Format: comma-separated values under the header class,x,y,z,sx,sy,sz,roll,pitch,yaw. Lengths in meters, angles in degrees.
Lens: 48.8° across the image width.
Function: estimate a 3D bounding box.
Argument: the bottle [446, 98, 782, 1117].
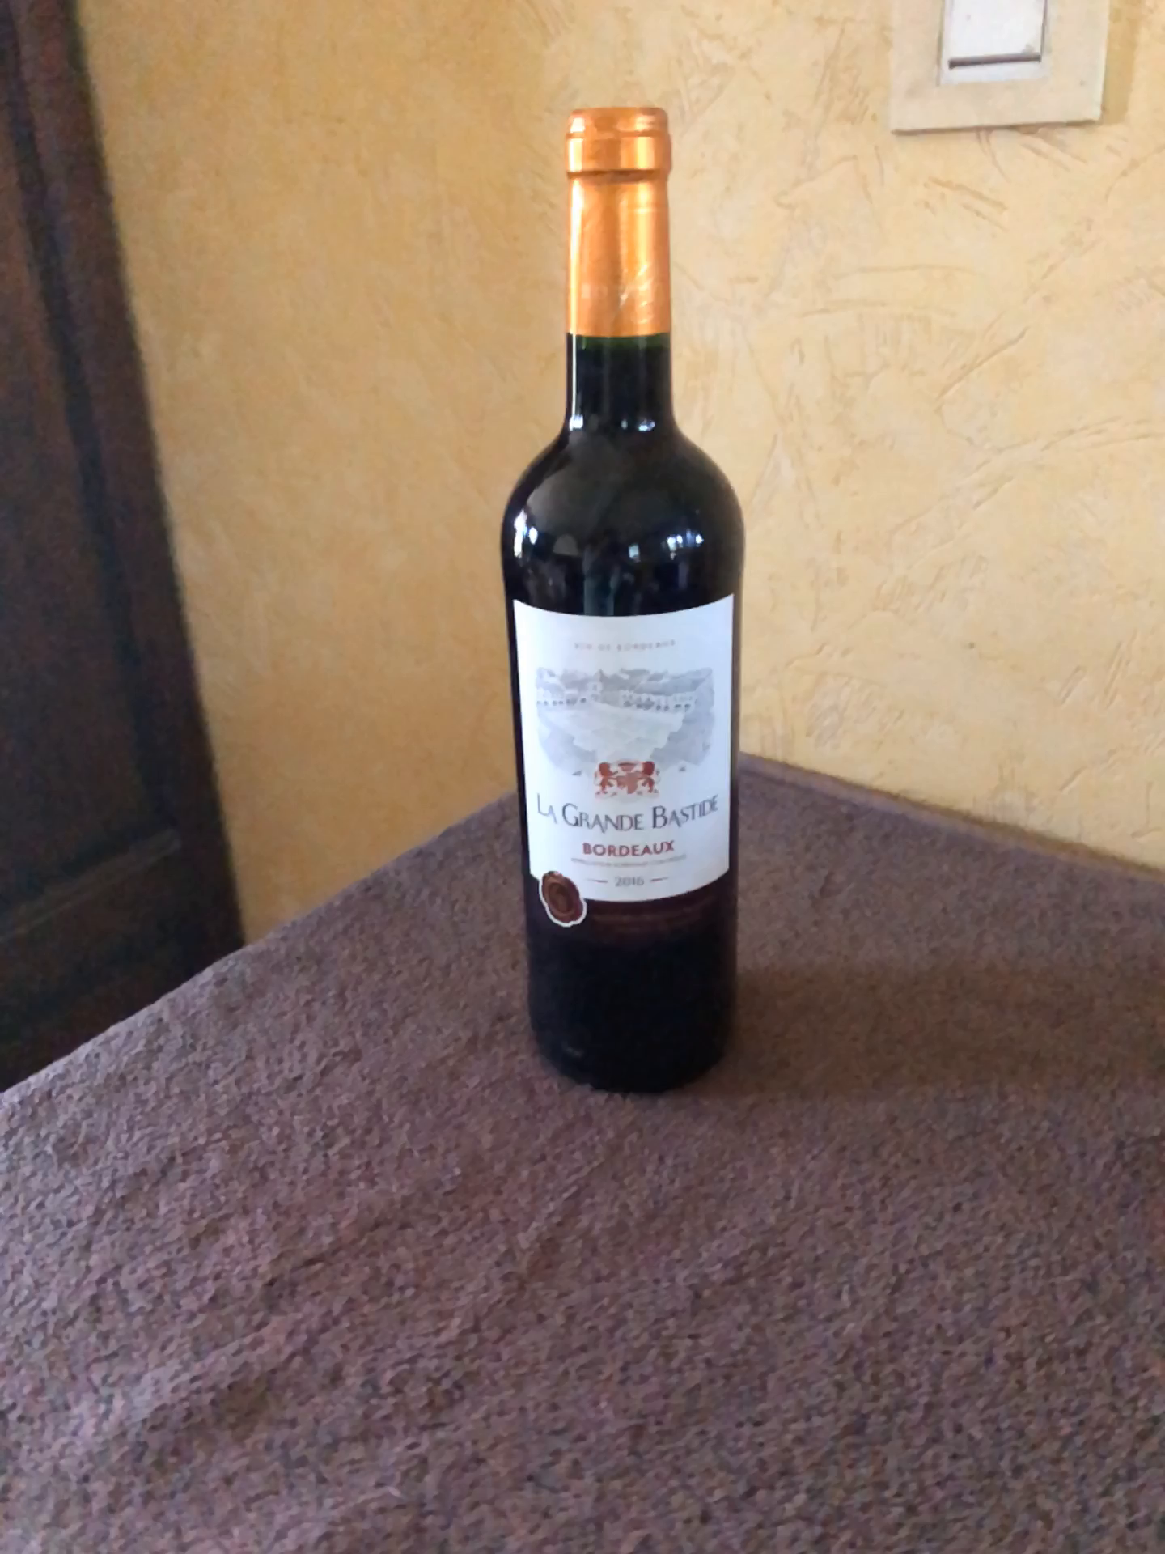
class,x,y,z,sx,sy,sz,roll,pitch,yaw
bottle,0.016,-0.040,0.403,0.080,0.298,0.080,-2,24,1
